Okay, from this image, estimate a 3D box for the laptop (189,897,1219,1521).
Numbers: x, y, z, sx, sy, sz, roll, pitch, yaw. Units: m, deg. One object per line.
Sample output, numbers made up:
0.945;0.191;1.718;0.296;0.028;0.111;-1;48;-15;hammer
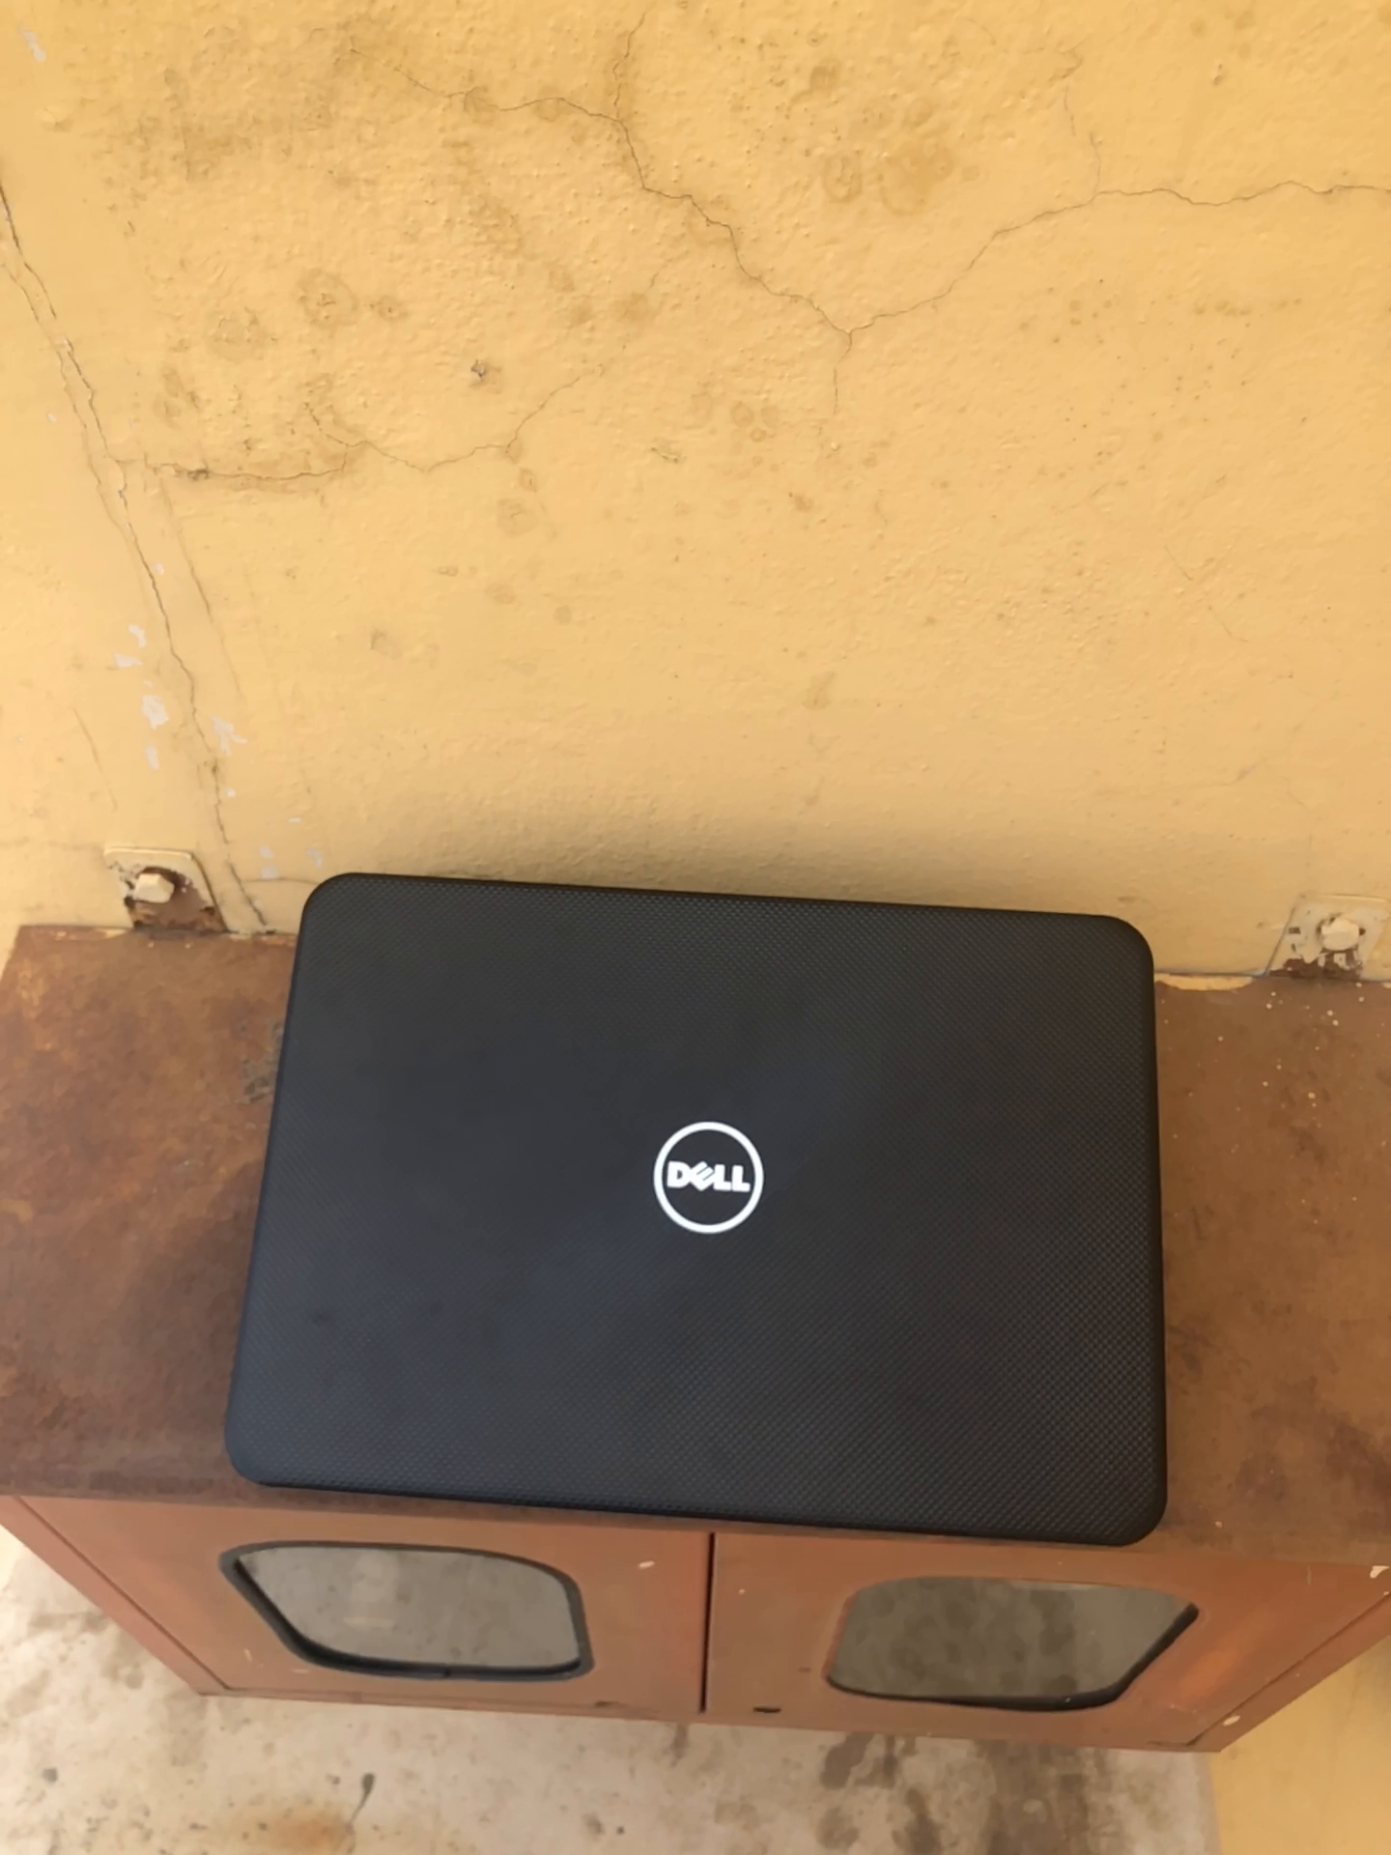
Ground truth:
0.008;0.109;0.604;0.352;0.098;0.183;3;62;3;laptop
